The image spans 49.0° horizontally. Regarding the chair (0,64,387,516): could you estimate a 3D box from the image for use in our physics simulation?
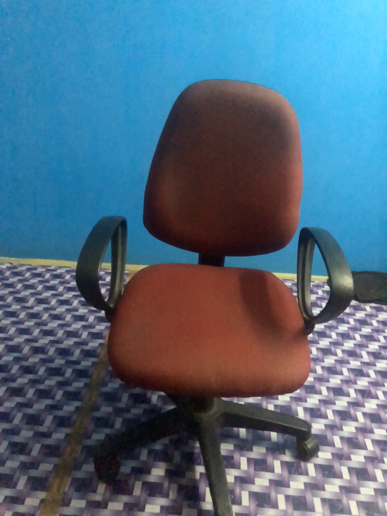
[{"bbox_3d":[0.040,0.083,1.027,0.700,0.895,0.744,7,31,6],"label":"chair"}]
